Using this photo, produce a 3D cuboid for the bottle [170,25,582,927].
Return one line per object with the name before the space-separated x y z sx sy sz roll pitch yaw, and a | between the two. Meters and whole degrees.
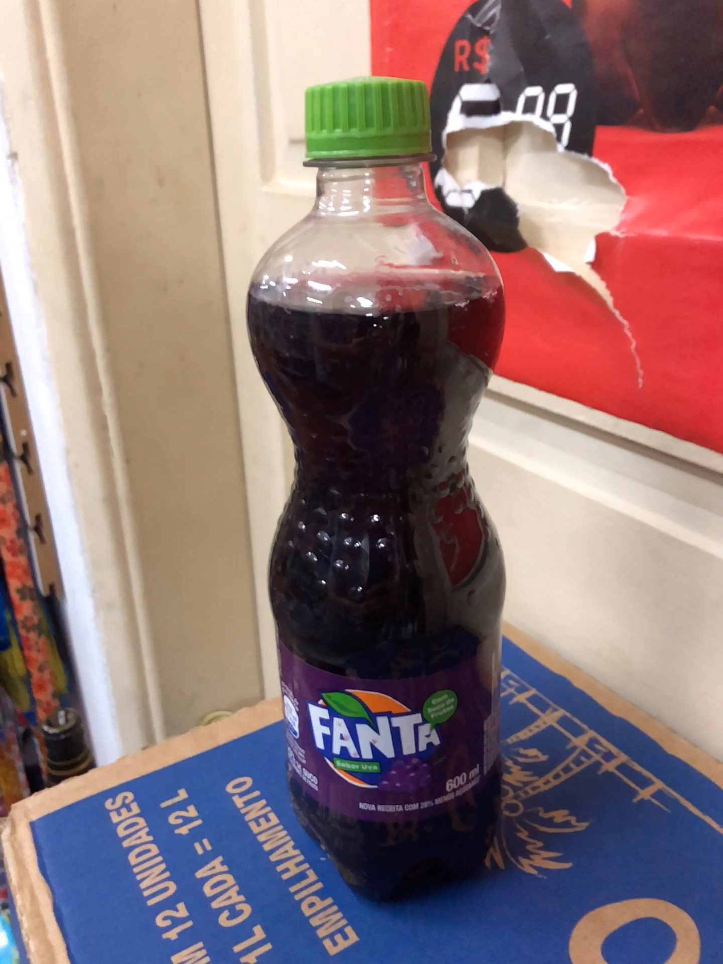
bottle | 0.010 0.007 0.229 0.080 0.228 0.070 2 22 10
